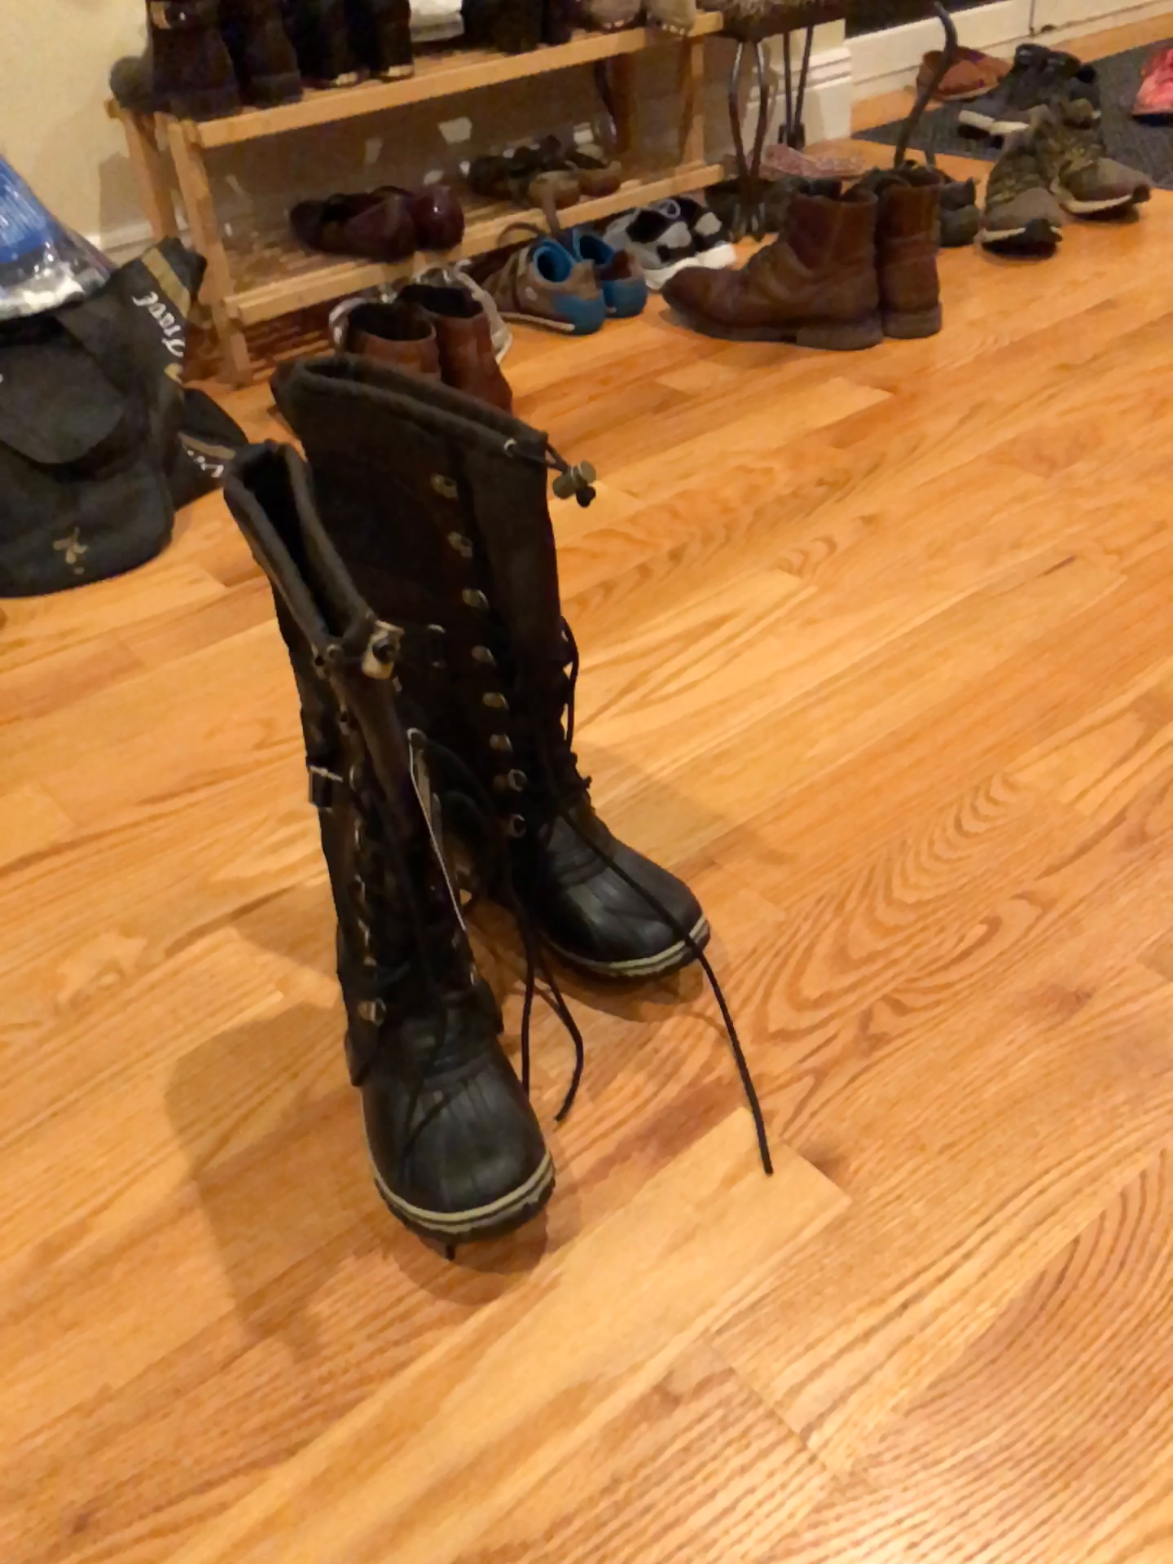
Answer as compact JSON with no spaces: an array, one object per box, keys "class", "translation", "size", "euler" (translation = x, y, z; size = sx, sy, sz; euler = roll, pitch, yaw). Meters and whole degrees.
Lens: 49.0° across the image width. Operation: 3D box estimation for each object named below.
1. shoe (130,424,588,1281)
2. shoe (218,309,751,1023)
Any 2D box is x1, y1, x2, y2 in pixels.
[{"class":"shoe","translation":[-0.108,0.029,0.624],"size":[0.100,0.308,0.261],"euler":[-18,39,-16]},{"class":"shoe","translation":[-0.046,-0.065,0.722],"size":[0.261,0.328,0.100],"euler":[24,46,32]}]
